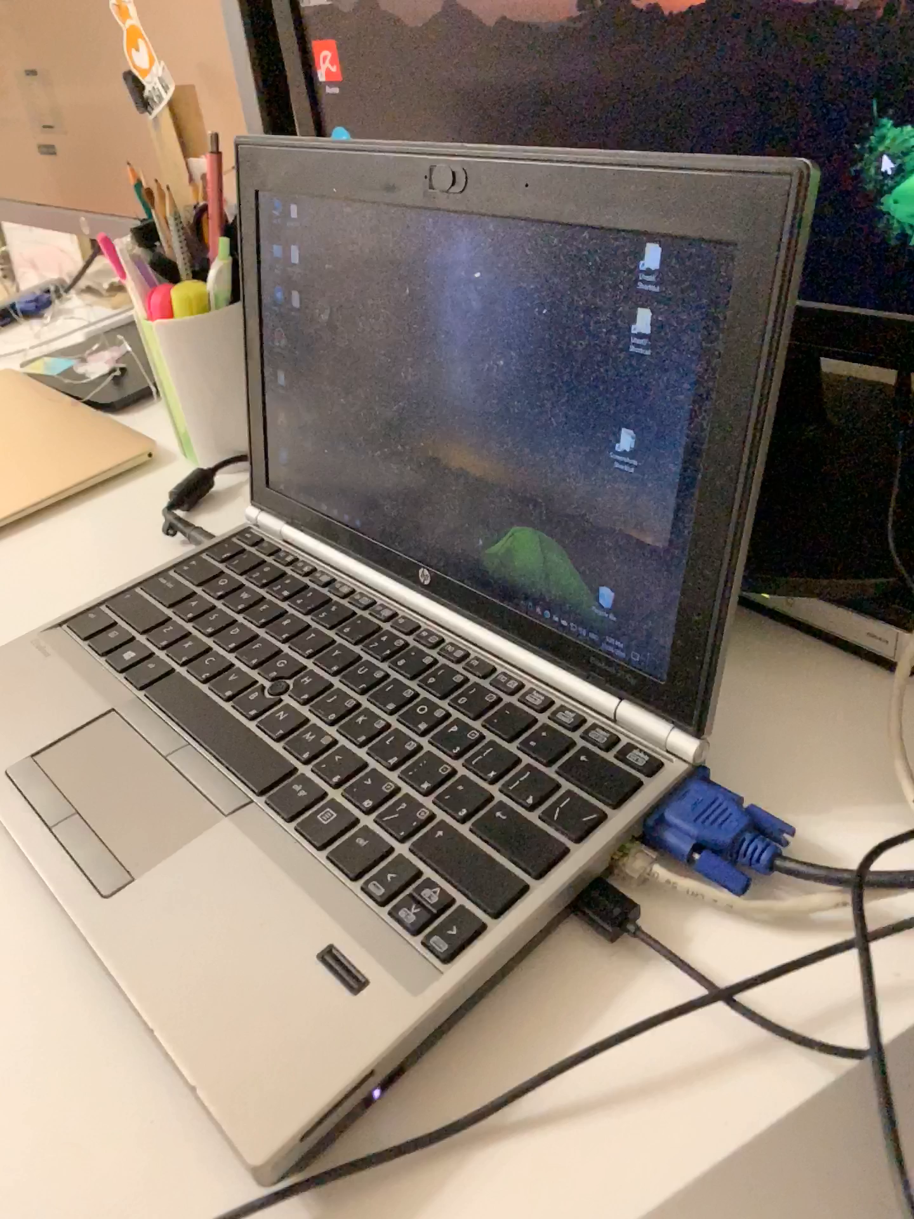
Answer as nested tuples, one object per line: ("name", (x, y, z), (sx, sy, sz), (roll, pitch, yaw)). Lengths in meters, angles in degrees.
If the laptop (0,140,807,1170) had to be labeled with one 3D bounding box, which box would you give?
("laptop", (-0.075, -0.039, 0.329), (0.226, 0.176, 0.285), (-33, 41, -30))
